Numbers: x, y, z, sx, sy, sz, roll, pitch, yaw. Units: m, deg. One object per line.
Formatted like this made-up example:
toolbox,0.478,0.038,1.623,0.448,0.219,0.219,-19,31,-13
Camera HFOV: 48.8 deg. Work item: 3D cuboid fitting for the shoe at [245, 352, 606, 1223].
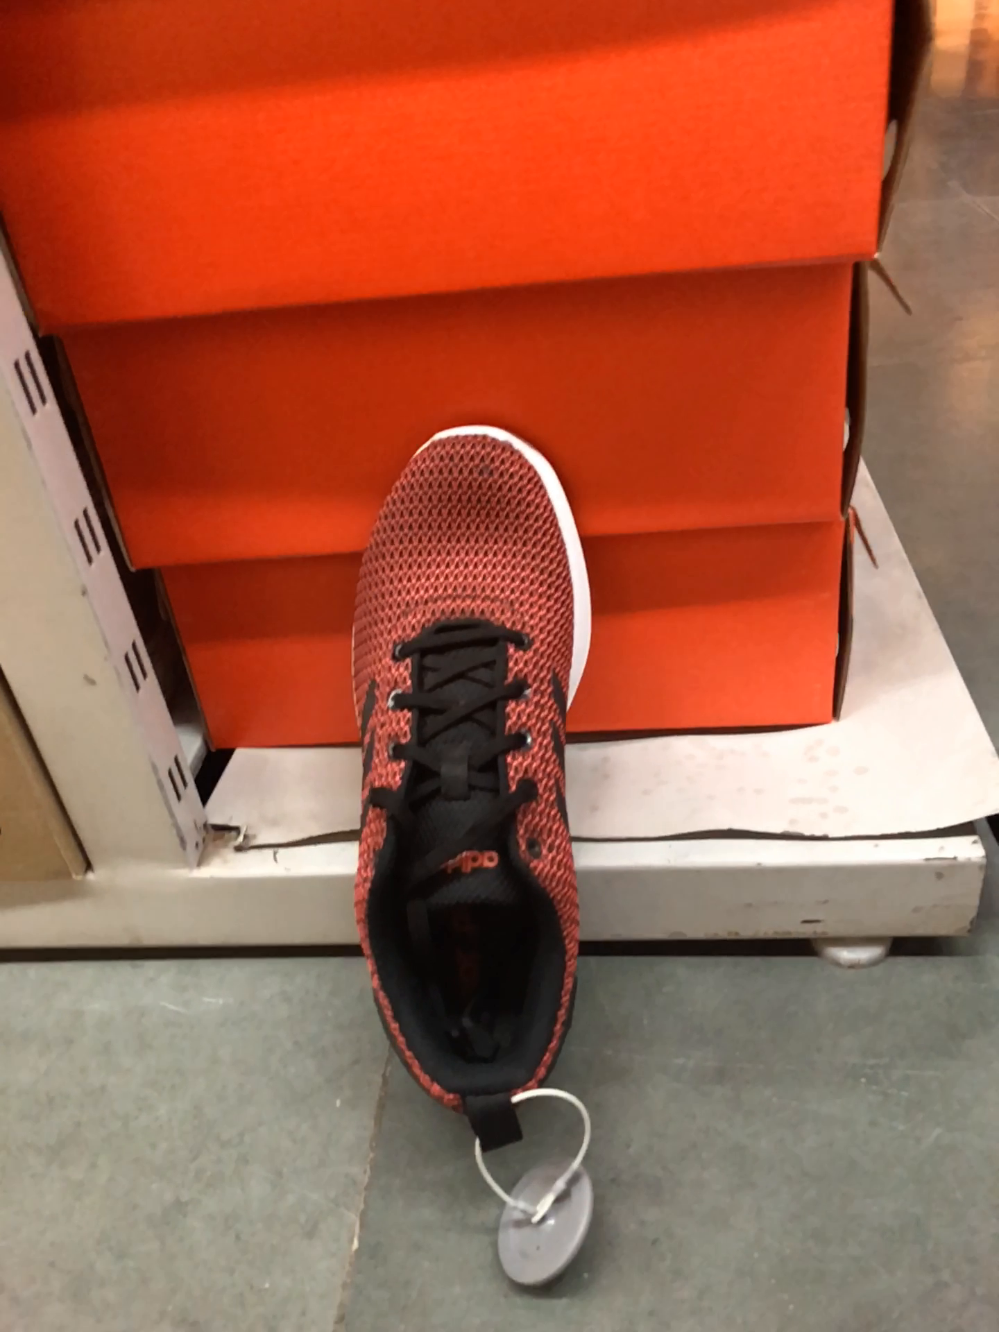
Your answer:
shoe,-0.018,0.038,0.415,0.110,0.272,0.133,-1,0,6
